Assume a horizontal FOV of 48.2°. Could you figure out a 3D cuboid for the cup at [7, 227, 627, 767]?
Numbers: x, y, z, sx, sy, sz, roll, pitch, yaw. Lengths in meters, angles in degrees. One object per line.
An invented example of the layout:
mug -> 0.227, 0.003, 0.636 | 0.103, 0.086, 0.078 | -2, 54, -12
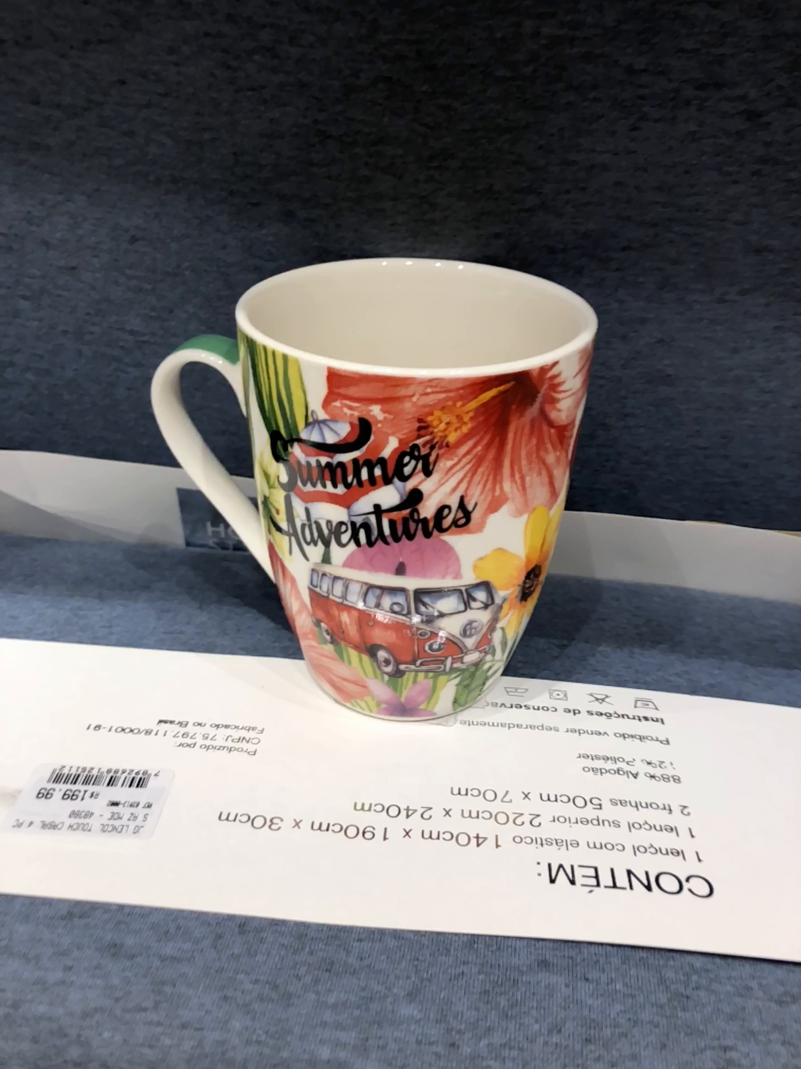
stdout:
cup -> -0.013, -0.016, 0.217 | 0.110, 0.090, 0.090 | 6, 28, 4
